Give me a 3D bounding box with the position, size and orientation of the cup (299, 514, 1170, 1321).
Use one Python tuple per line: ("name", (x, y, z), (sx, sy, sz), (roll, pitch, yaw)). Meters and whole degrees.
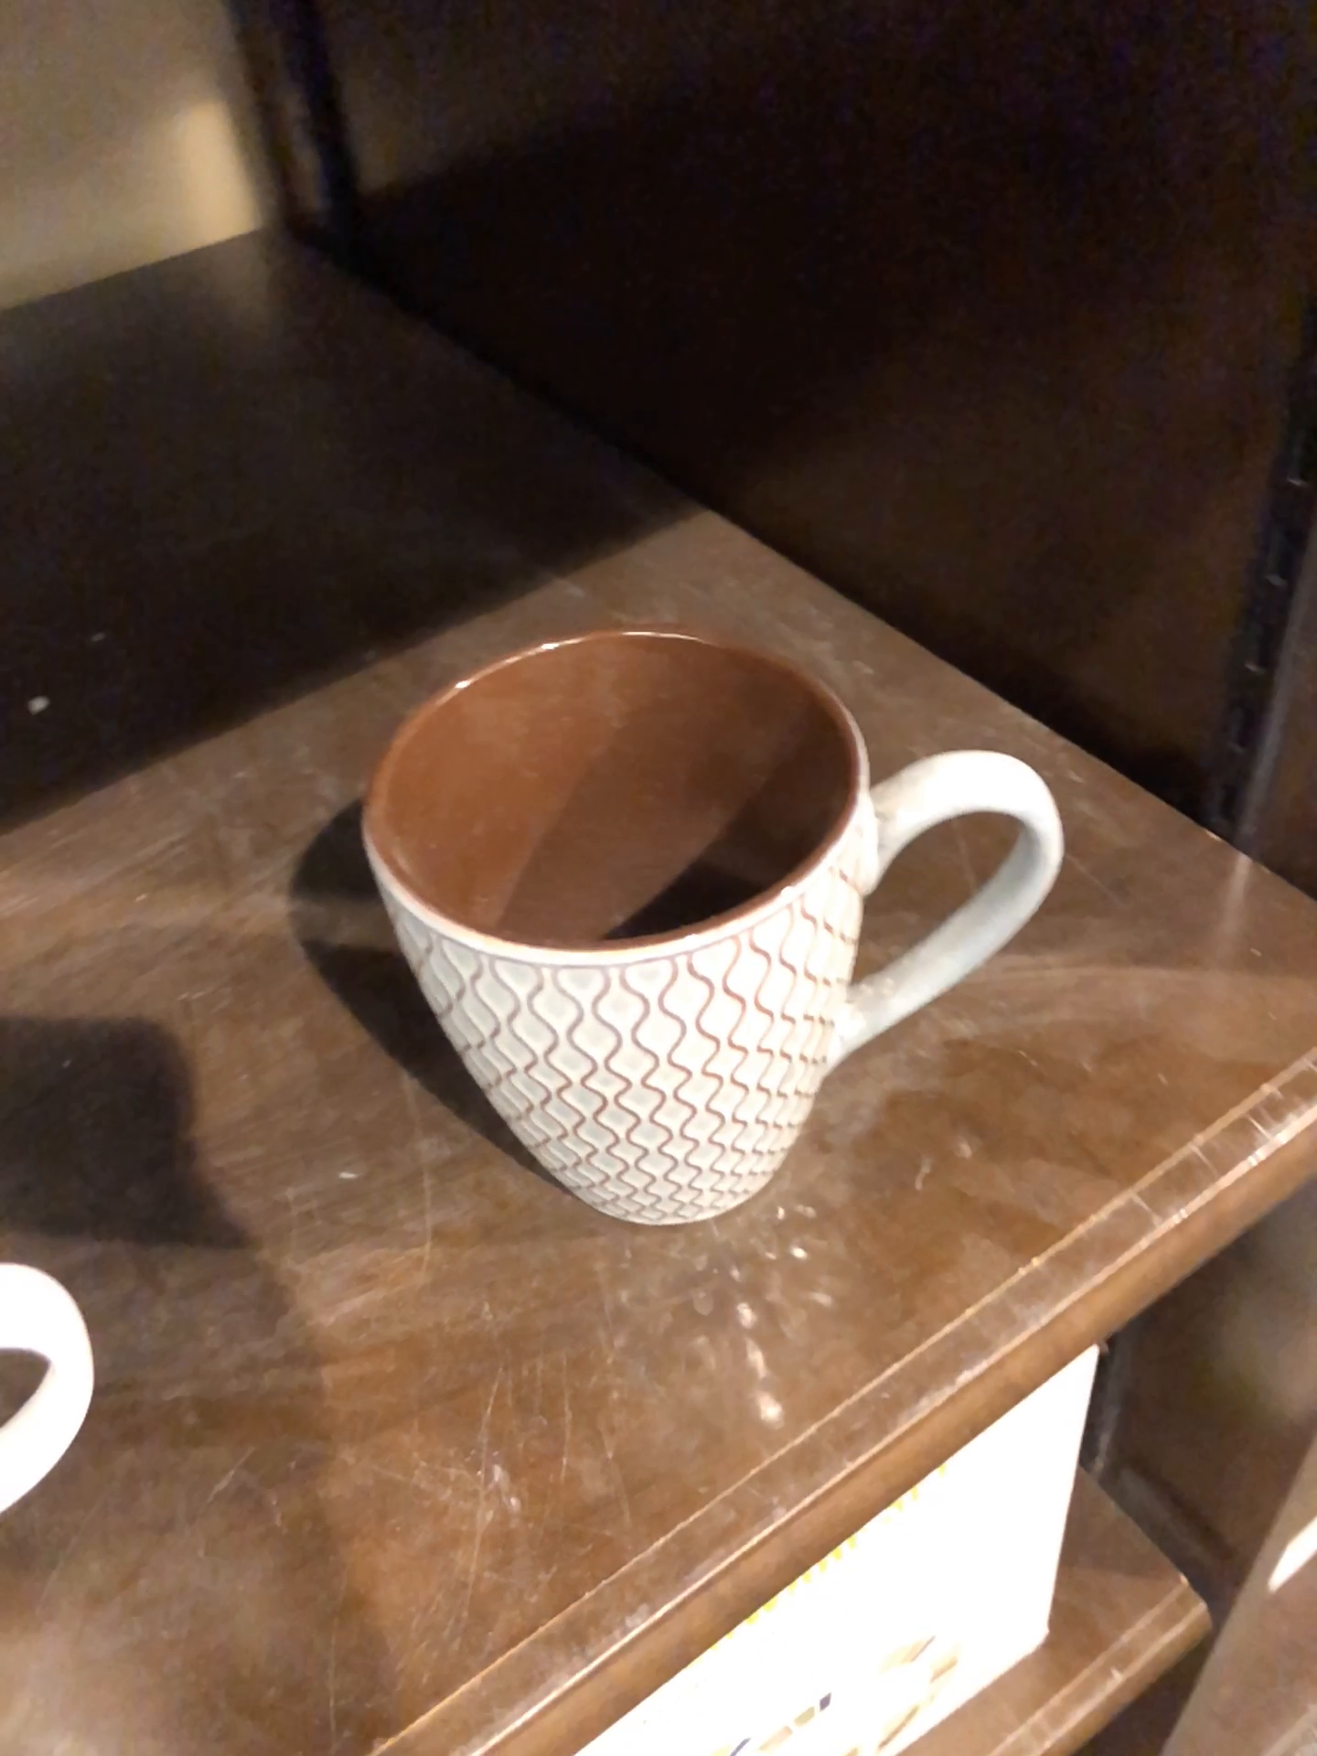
("cup", (0.012, 0.008, 0.296), (0.132, 0.098, 0.085), (-17, 49, -9))
